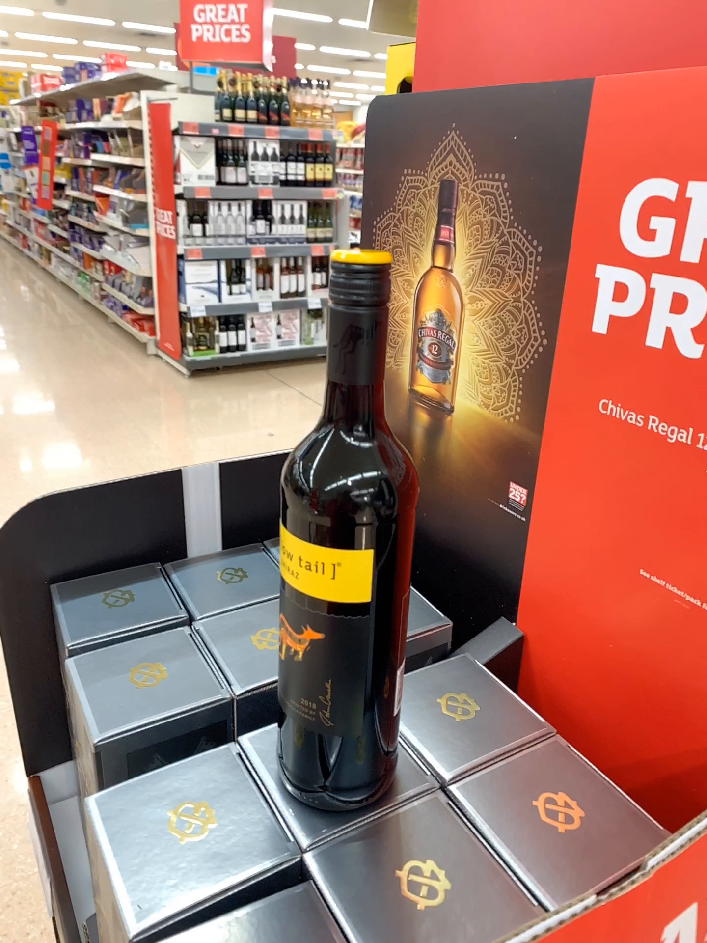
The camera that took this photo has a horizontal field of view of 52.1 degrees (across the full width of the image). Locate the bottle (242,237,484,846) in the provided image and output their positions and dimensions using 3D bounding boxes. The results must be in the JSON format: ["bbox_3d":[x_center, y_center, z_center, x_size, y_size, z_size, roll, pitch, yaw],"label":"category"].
[{"bbox_3d":[-0.004,0.040,0.382,0.081,0.305,0.078,2,22,-1],"label":"bottle"}]
